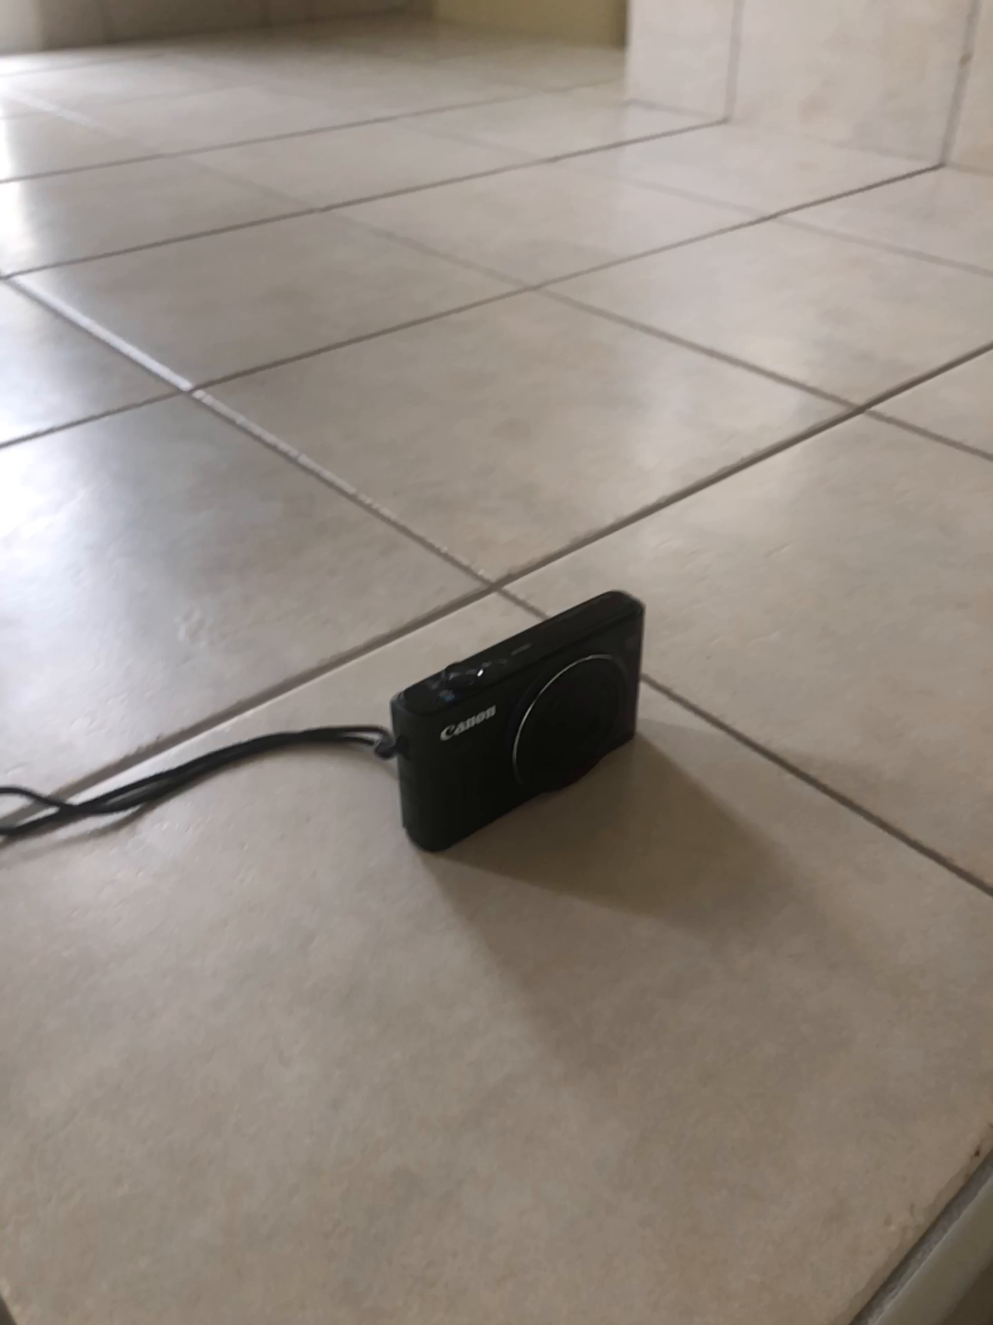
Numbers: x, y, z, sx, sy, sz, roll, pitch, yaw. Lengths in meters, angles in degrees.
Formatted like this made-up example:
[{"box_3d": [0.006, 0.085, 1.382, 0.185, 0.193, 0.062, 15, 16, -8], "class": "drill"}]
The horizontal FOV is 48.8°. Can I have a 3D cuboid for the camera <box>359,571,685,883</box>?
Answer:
[{"box_3d": [0.011, 0.020, 0.388, 0.111, 0.060, 0.040, -26, 43, -30], "class": "camera"}]
